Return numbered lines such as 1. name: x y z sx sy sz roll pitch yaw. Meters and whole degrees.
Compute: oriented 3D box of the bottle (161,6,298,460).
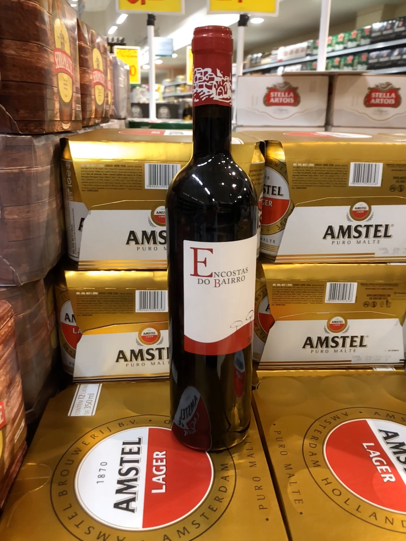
1. bottle: 0.010 -0.015 0.349 0.070 0.318 0.070 2 18 0
